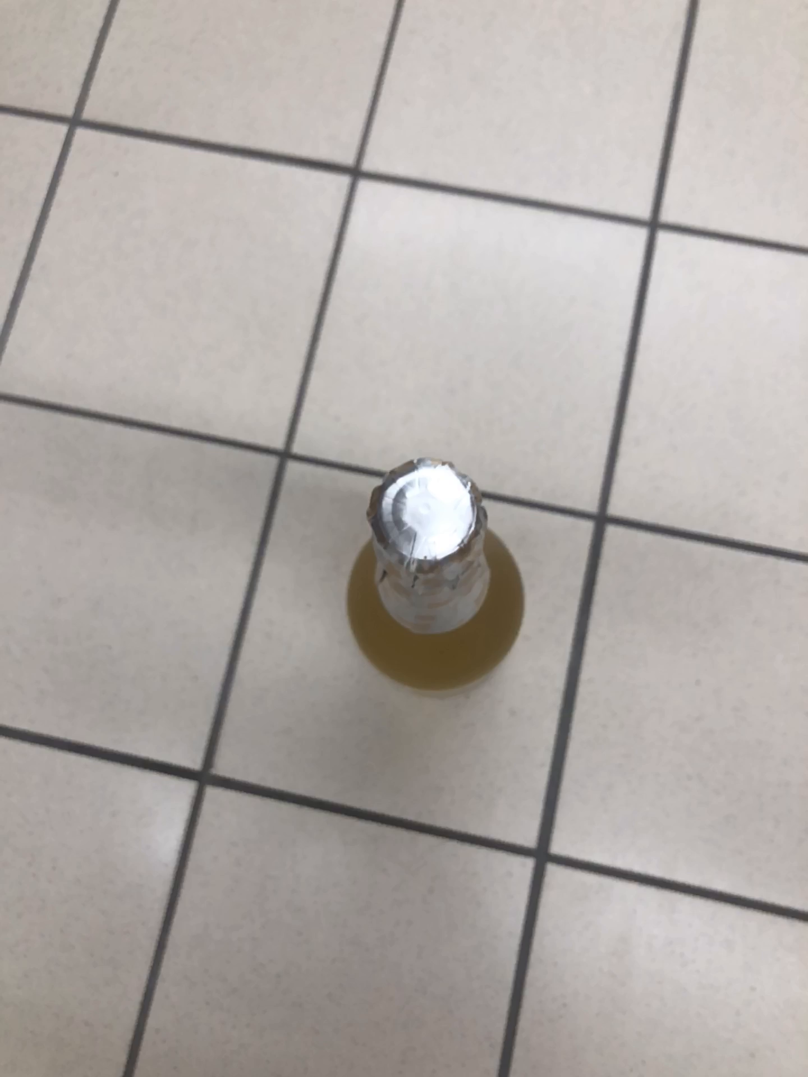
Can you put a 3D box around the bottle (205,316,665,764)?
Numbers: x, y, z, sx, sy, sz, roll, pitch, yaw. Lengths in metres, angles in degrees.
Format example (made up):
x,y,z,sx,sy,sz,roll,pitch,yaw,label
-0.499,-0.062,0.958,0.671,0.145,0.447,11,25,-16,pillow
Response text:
x,y,z,sx,sy,sz,roll,pitch,yaw,label
0.012,0.031,0.390,0.090,0.310,0.090,0,77,2,bottle
